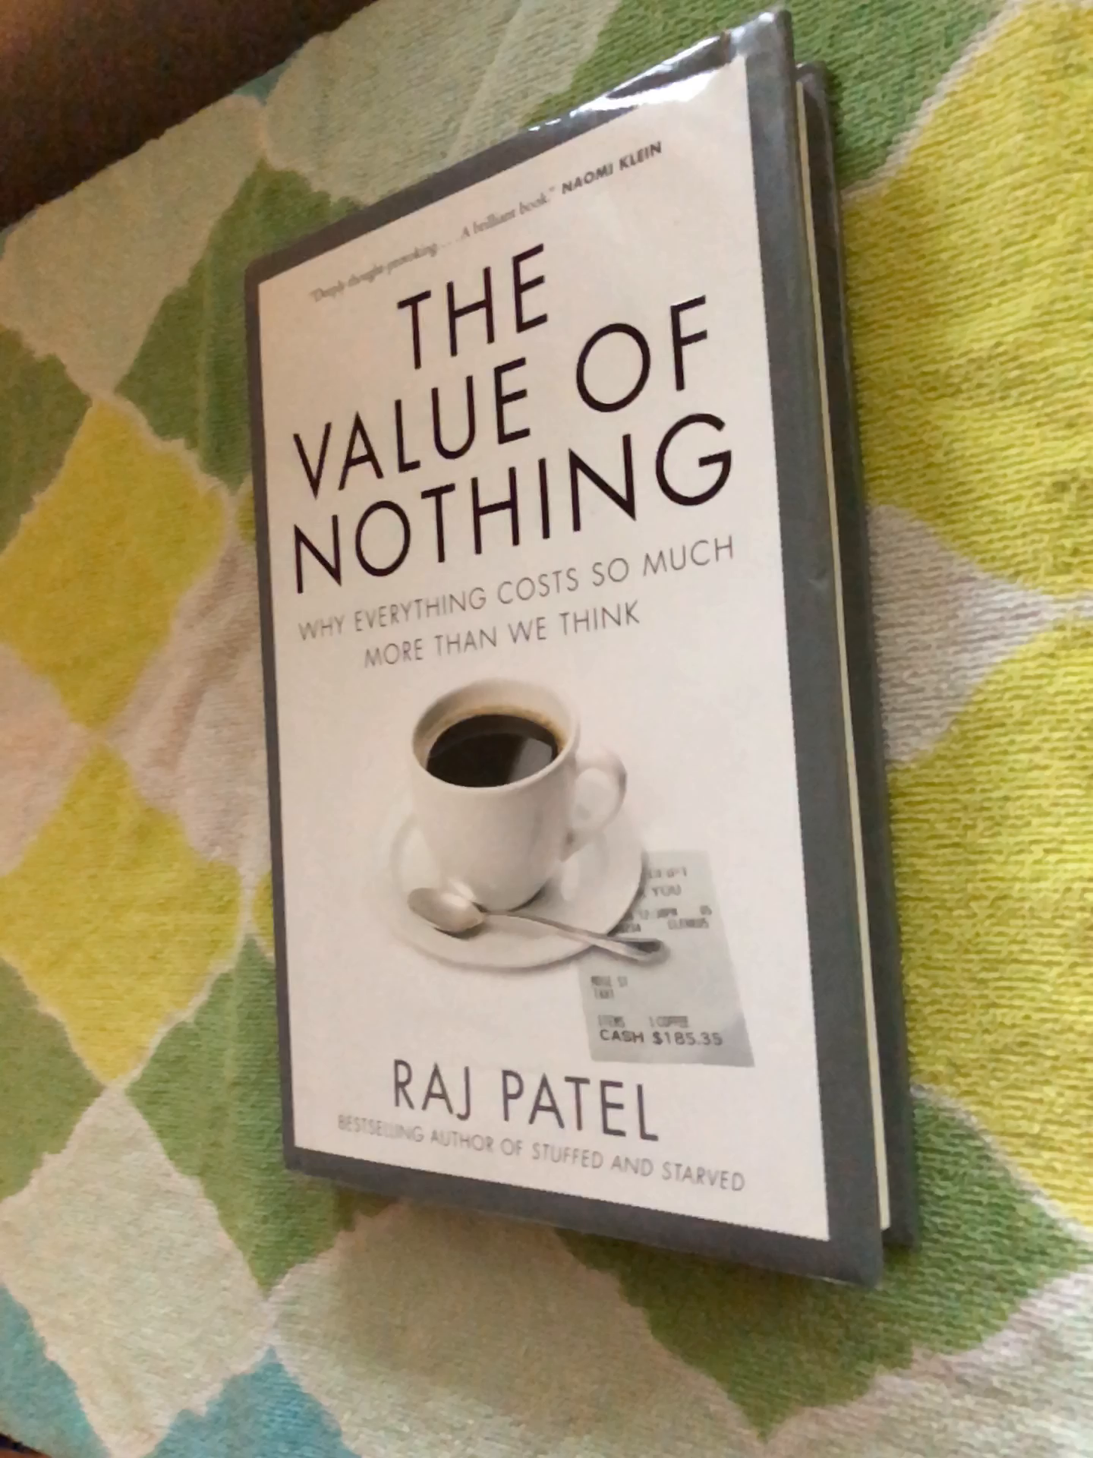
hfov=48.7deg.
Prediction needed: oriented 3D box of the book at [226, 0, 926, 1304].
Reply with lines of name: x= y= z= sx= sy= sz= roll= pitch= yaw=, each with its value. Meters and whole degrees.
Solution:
book: x=-0.005 y=-0.010 z=0.244 sx=0.141 sy=0.030 sz=0.206 roll=-6 pitch=84 yaw=38
